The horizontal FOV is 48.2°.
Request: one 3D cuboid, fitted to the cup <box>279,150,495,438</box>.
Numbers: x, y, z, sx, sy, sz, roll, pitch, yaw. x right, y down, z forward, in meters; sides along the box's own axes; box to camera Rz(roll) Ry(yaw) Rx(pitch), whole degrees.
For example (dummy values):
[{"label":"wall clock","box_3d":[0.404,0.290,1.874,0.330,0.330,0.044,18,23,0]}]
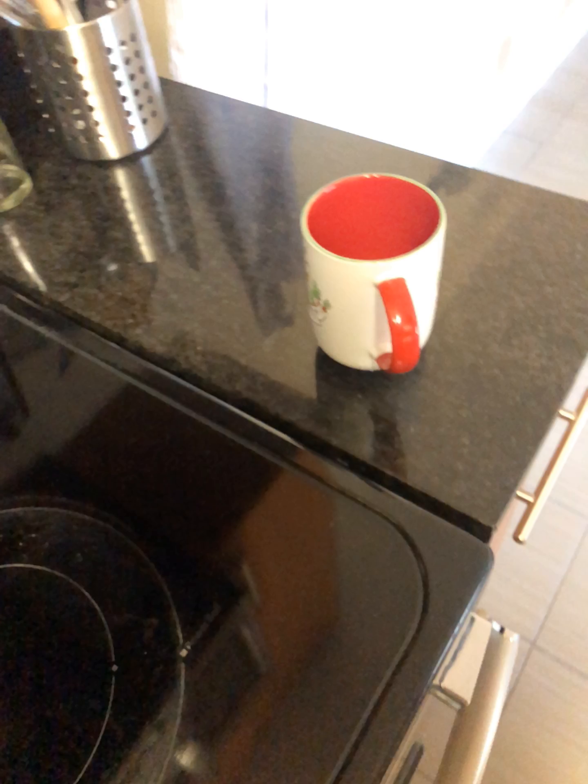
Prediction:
[{"label":"cup","box_3d":[0.052,-0.063,0.425,0.090,0.110,0.130,-13,52,-4]}]
